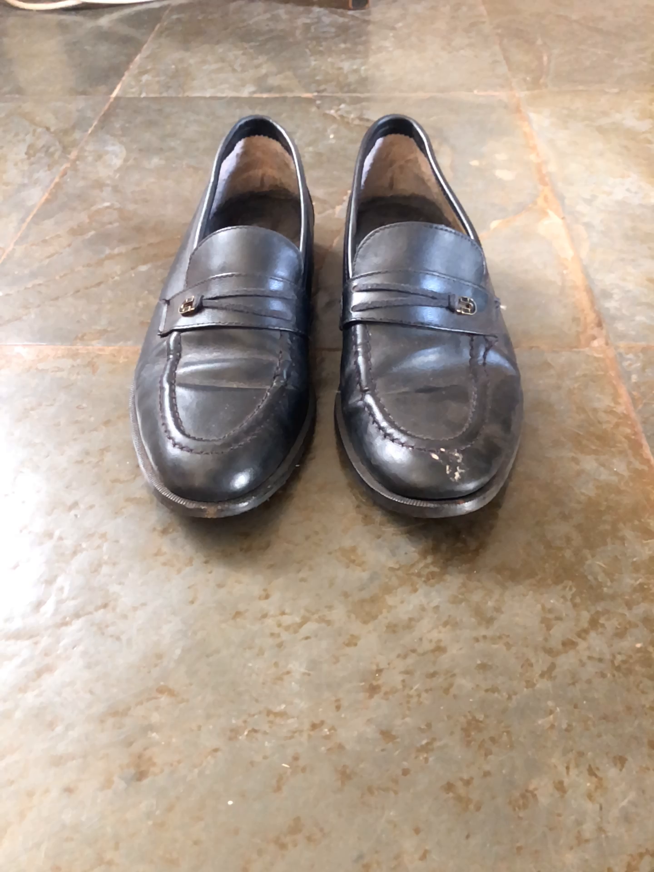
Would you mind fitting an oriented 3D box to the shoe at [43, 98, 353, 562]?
[{"bbox_3d":[-0.040,-0.074,0.374,0.100,0.099,0.262,1,45,3],"label":"shoe"}]

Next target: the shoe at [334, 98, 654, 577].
[{"bbox_3d":[0.059,-0.069,0.366,0.100,0.099,0.262,-2,45,0],"label":"shoe"}]
